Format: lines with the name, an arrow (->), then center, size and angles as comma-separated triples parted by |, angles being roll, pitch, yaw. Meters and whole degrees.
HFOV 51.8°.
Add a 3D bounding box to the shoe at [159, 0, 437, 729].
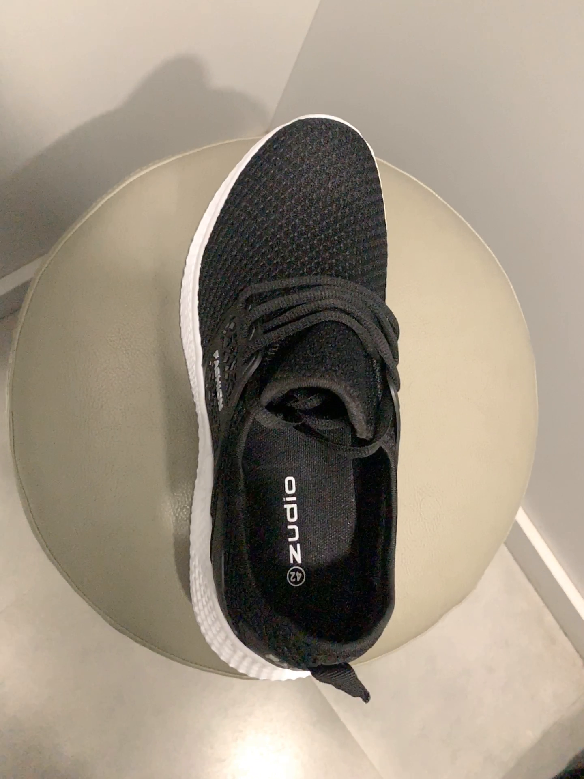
shoe -> -0.002, -0.011, 0.300 | 0.100, 0.110, 0.290 | 5, 83, -14
